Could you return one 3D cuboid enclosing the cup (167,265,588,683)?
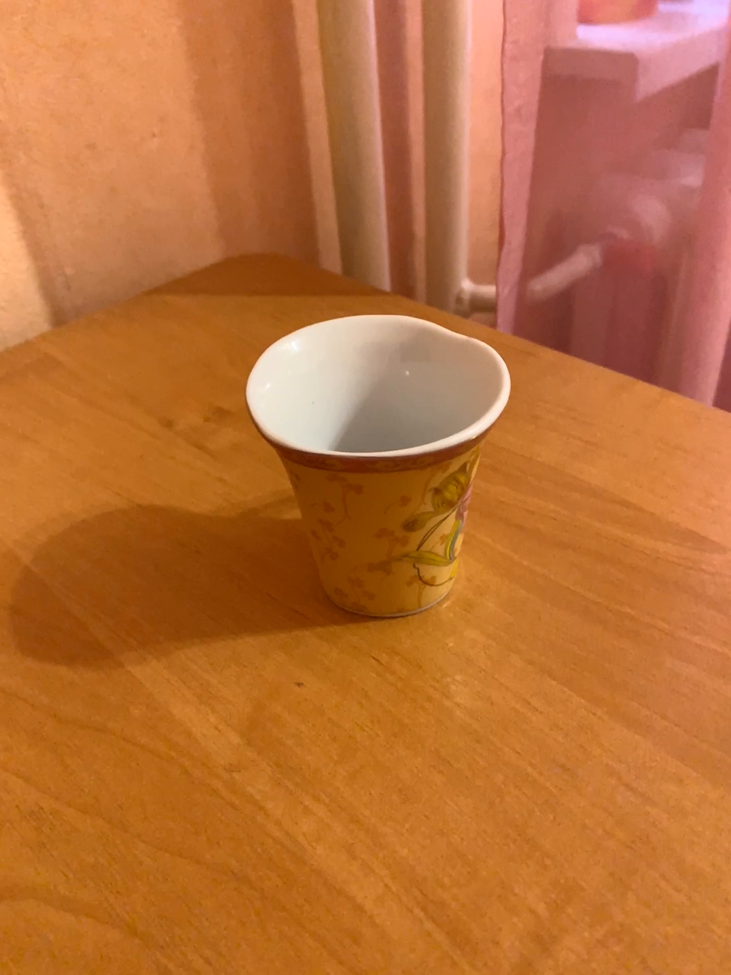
[{"bbox_3d":[0.009,-0.012,0.218,0.072,0.061,0.094,18,44,27],"label":"cup"}]
